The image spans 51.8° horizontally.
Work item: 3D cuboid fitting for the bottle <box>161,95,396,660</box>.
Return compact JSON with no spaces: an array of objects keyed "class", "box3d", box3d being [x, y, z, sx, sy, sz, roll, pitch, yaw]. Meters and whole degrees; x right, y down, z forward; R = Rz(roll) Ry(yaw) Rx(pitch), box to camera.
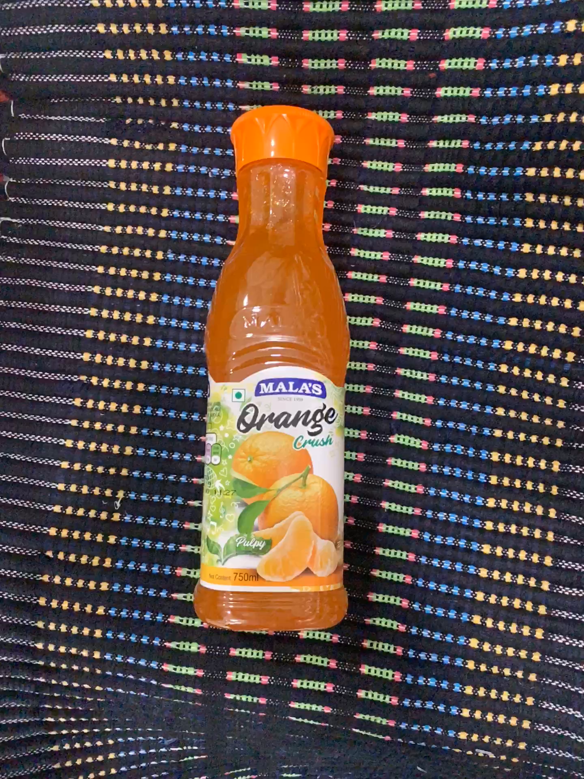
[{"class":"bottle","box3d":[-0.005,-0.005,0.277,0.080,0.080,0.220,4,83,-3]}]
